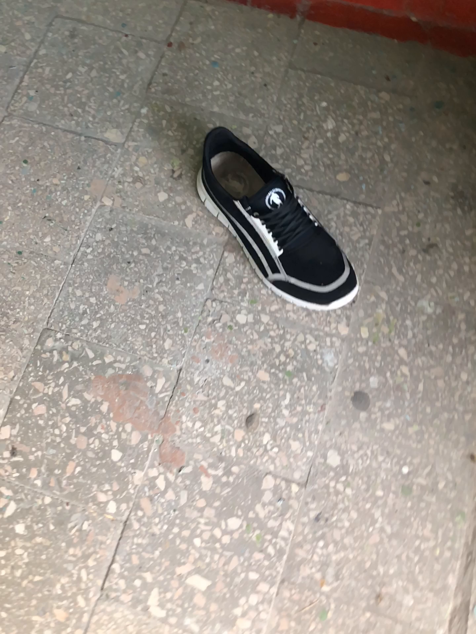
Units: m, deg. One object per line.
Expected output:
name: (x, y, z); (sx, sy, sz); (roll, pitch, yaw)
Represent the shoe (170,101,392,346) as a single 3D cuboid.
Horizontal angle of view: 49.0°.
shoe: (0.046, -0.114, 0.658); (0.100, 0.120, 0.280); (-37, 76, -8)
